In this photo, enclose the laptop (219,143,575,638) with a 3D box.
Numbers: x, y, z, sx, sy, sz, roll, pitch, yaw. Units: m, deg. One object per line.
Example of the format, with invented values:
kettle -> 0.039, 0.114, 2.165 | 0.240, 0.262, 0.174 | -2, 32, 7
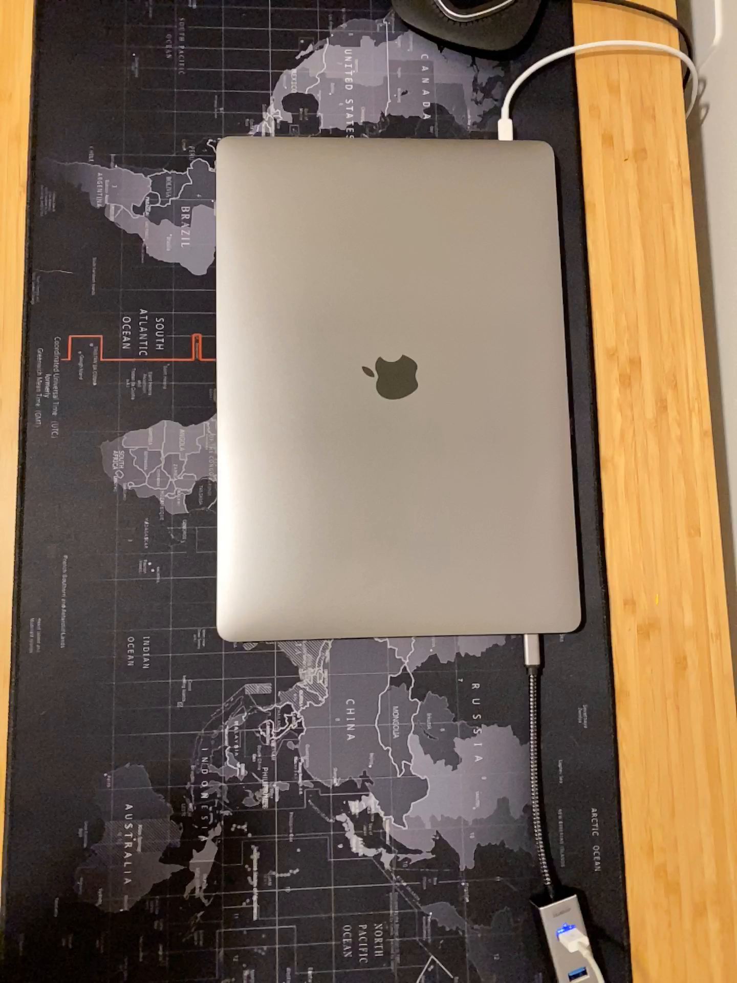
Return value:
laptop -> 0.018, -0.077, 0.502 | 0.226, 0.002, 0.336 | 0, 82, -3
